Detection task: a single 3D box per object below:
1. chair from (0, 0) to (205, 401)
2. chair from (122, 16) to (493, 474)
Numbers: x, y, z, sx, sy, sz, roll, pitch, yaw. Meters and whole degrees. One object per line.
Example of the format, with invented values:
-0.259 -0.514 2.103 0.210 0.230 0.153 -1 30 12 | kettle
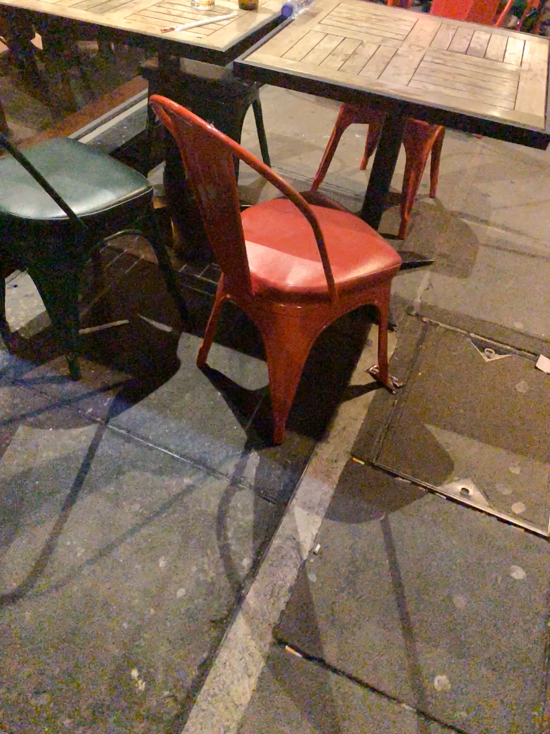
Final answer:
-0.525 -0.420 1.391 0.513 0.832 0.432 -37 65 -27 | chair
0.043 -0.255 1.297 0.512 0.812 0.433 -30 55 -27 | chair
